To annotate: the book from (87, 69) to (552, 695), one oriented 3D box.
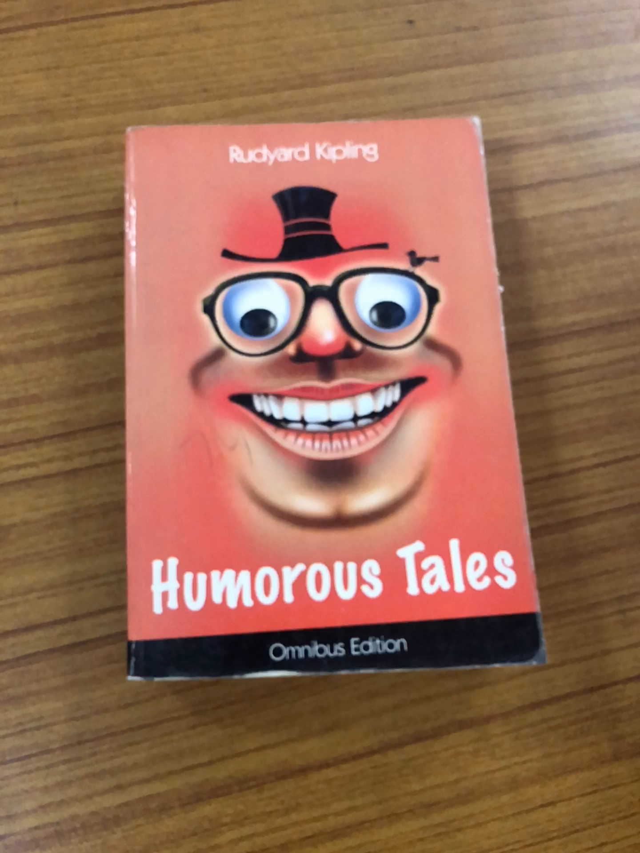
[{"bbox_3d":[-0.006,-0.017,0.244,0.130,0.040,0.190,-5,77,3],"label":"book"}]
